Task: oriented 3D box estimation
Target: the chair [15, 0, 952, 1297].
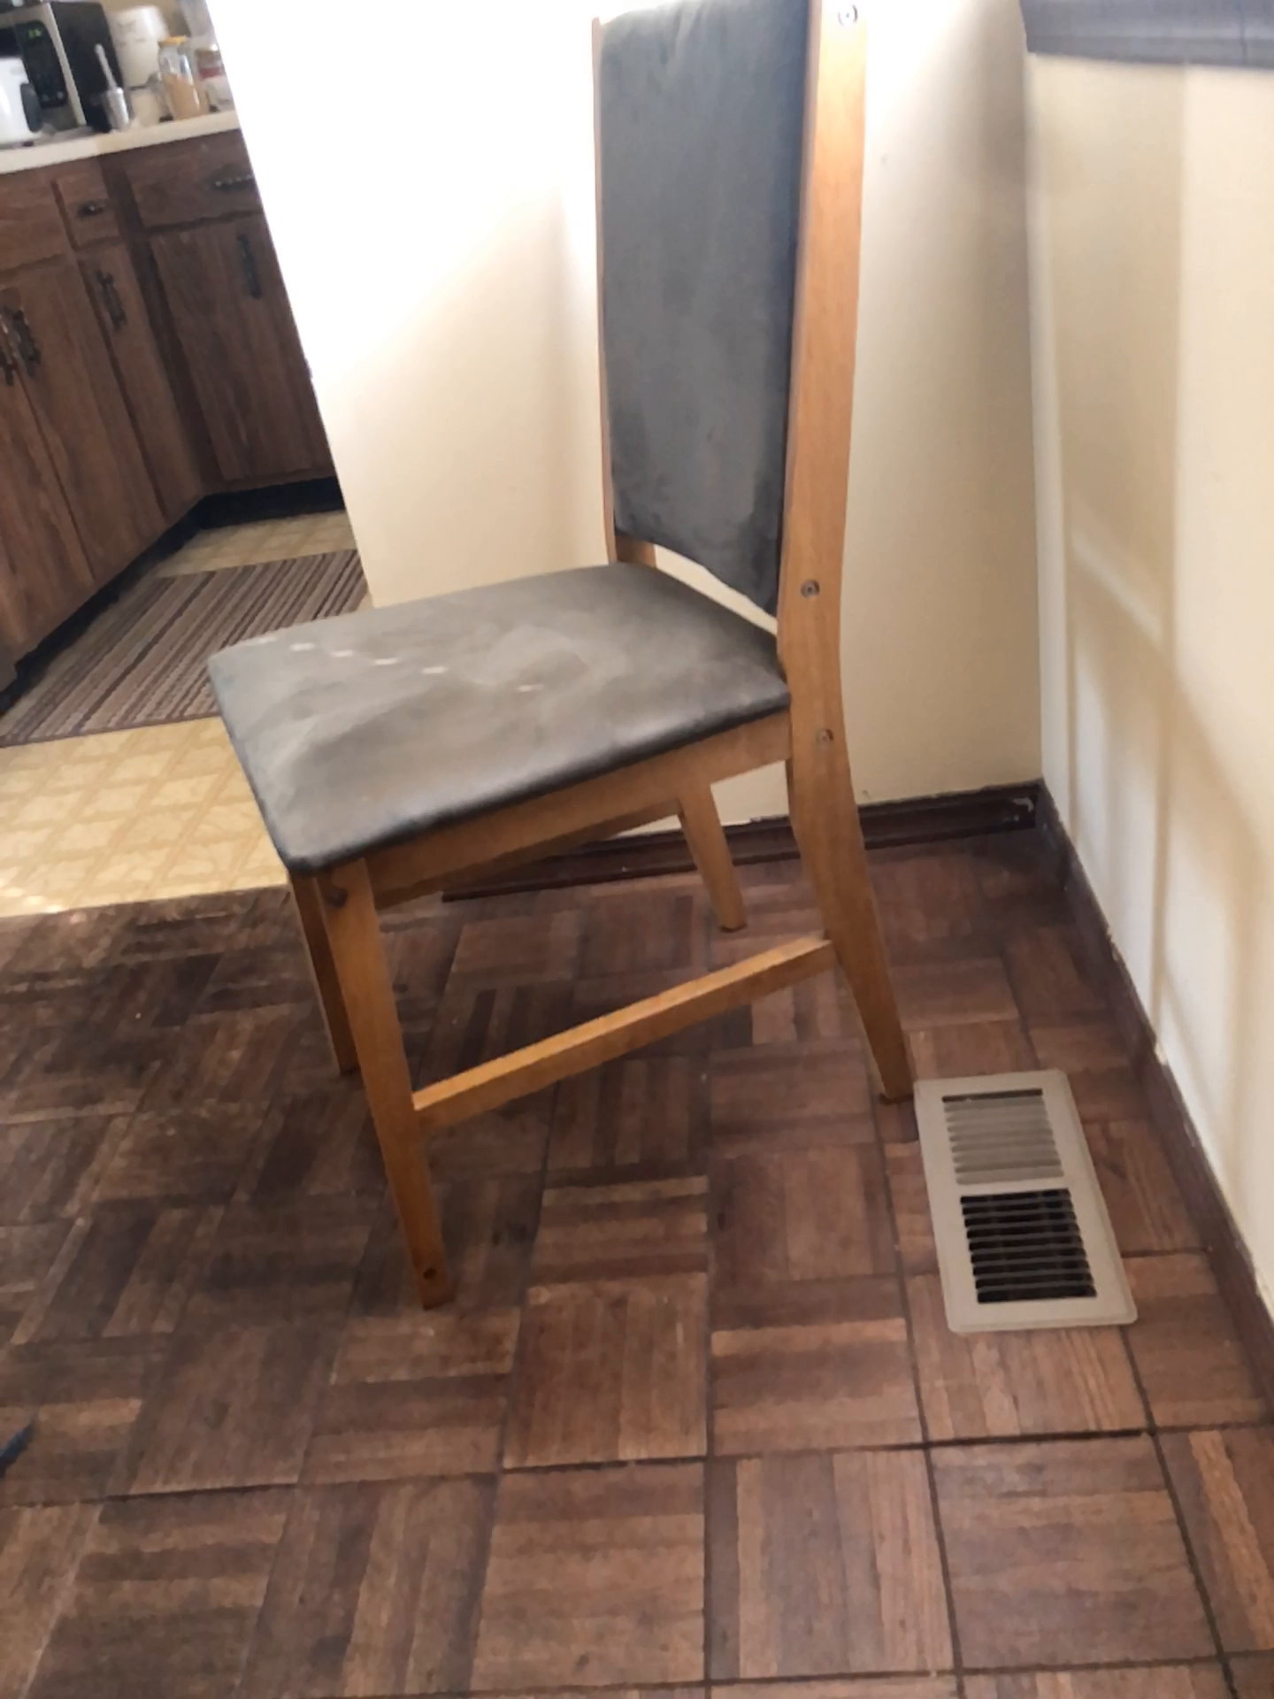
[{"bbox_3d":[-0.103,-0.205,1.130,0.510,0.857,0.492,-16,29,-17],"label":"chair"}]
